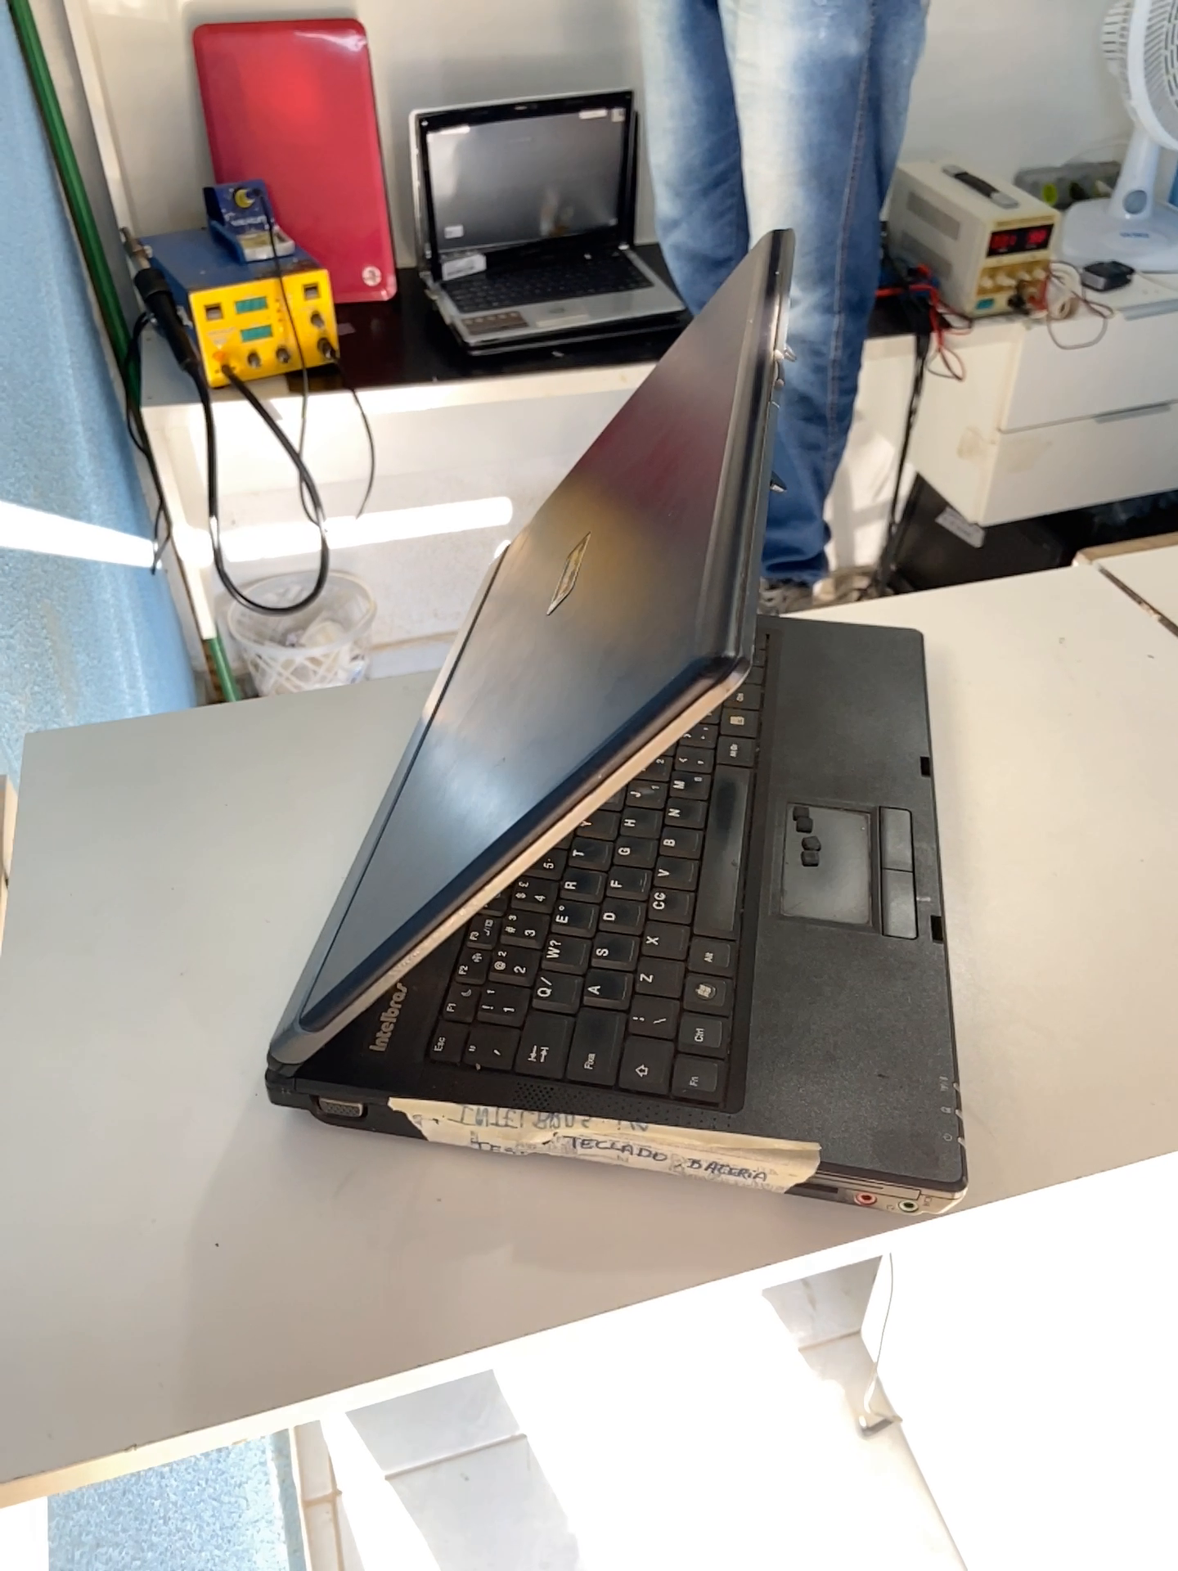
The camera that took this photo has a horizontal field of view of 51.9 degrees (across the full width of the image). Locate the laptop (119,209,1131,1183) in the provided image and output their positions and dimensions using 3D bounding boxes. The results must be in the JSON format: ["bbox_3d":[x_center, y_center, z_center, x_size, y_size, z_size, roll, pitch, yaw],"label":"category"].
[{"bbox_3d":[0.028,-0.064,0.458,0.231,0.191,0.324,6,41,7],"label":"laptop"}]
